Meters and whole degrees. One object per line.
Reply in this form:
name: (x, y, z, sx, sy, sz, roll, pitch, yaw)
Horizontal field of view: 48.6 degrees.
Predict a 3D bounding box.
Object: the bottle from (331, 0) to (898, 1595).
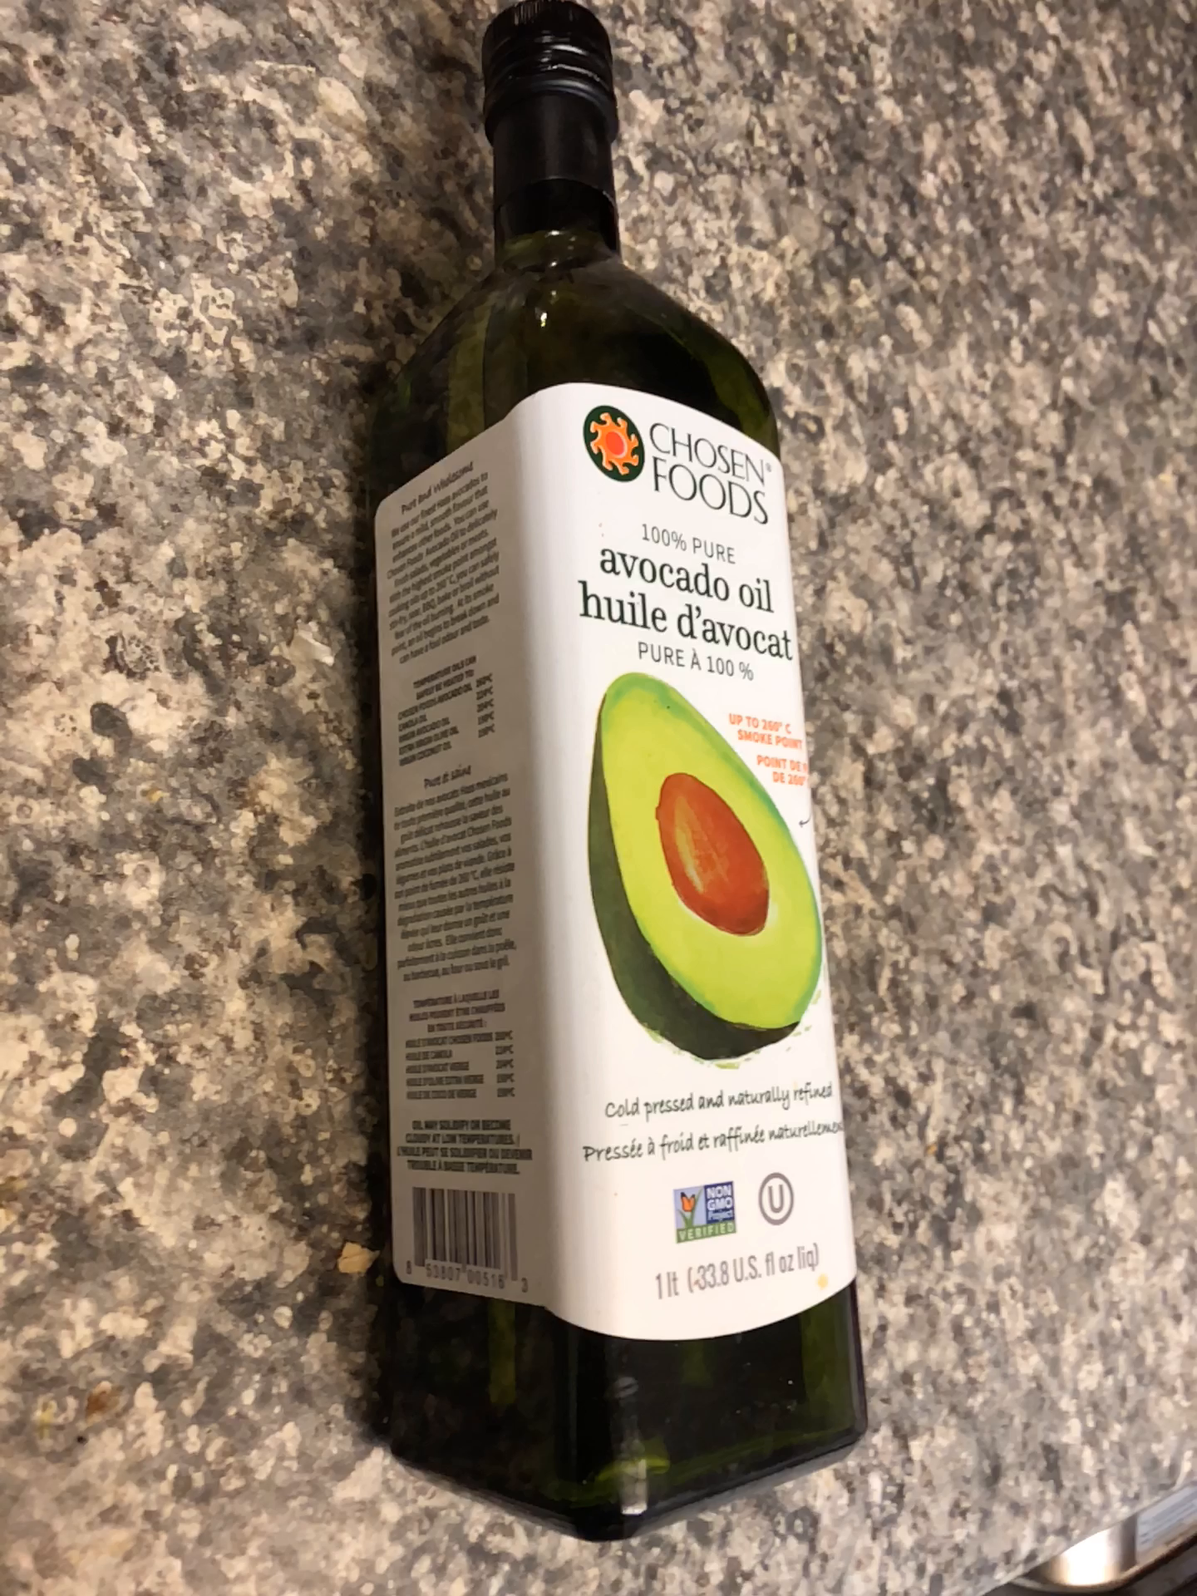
bottle: (-0.003, -0.029, 0.278, 0.080, 0.070, 0.320, 6, 77, -38)
